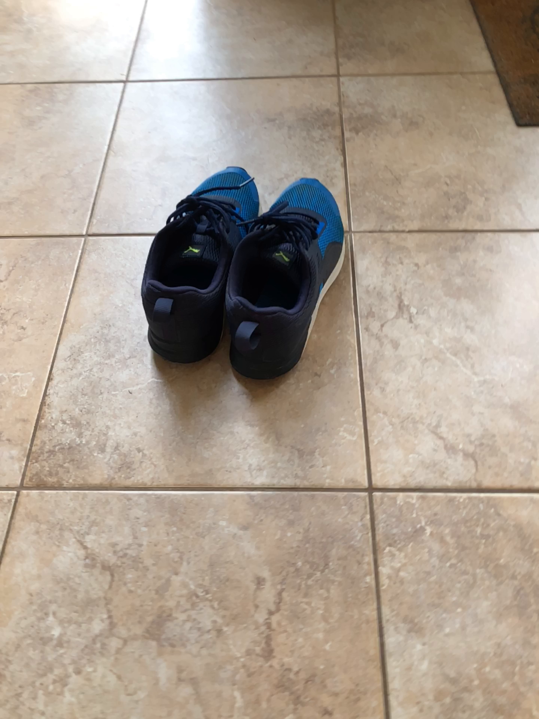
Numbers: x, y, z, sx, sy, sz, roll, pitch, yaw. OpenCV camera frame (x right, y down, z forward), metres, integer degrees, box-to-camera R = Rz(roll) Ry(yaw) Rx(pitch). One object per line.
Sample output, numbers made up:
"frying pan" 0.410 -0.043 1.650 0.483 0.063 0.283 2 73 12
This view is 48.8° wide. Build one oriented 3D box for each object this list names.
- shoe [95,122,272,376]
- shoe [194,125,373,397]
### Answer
"shoe" -0.080 -0.134 0.670 0.110 0.100 0.281 9 58 8
"shoe" 0.026 -0.118 0.651 0.110 0.100 0.291 13 58 11
